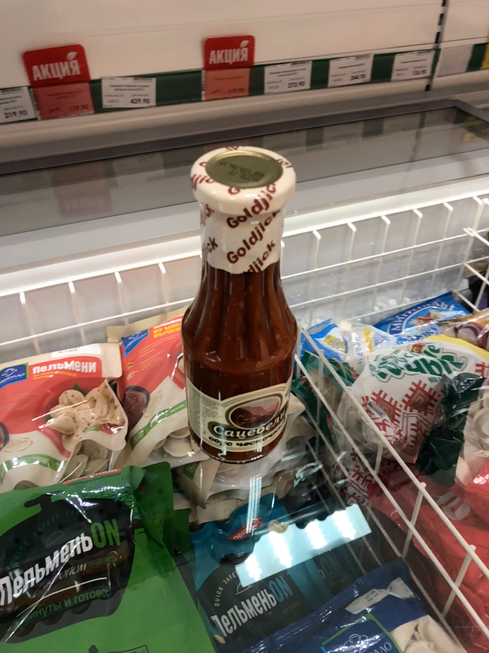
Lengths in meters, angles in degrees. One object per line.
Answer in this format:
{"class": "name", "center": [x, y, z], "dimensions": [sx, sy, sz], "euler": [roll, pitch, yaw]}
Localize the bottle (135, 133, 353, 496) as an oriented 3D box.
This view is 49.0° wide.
{"class": "bottle", "center": [-0.005, 0.003, 0.286], "dimensions": [0.070, 0.179, 0.070], "euler": [1, 44, -1]}
